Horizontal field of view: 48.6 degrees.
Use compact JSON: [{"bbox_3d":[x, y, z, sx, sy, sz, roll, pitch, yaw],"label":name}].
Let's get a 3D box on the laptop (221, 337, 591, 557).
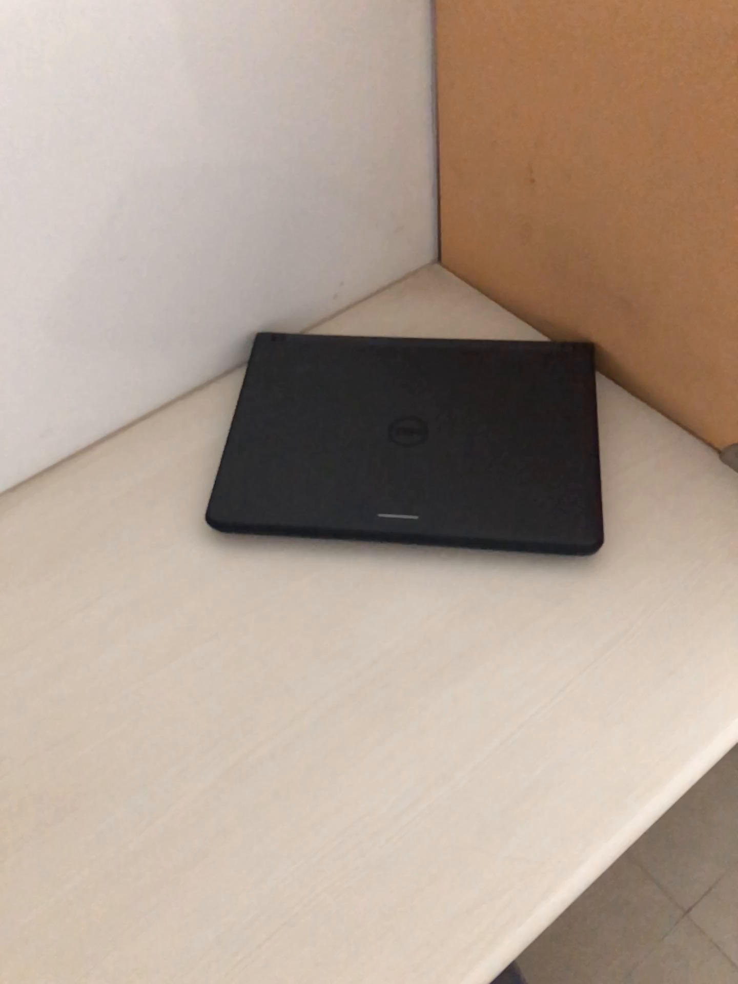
[{"bbox_3d":[0.035,-0.051,0.709,0.290,0.007,0.228,3,52,9],"label":"laptop"}]
